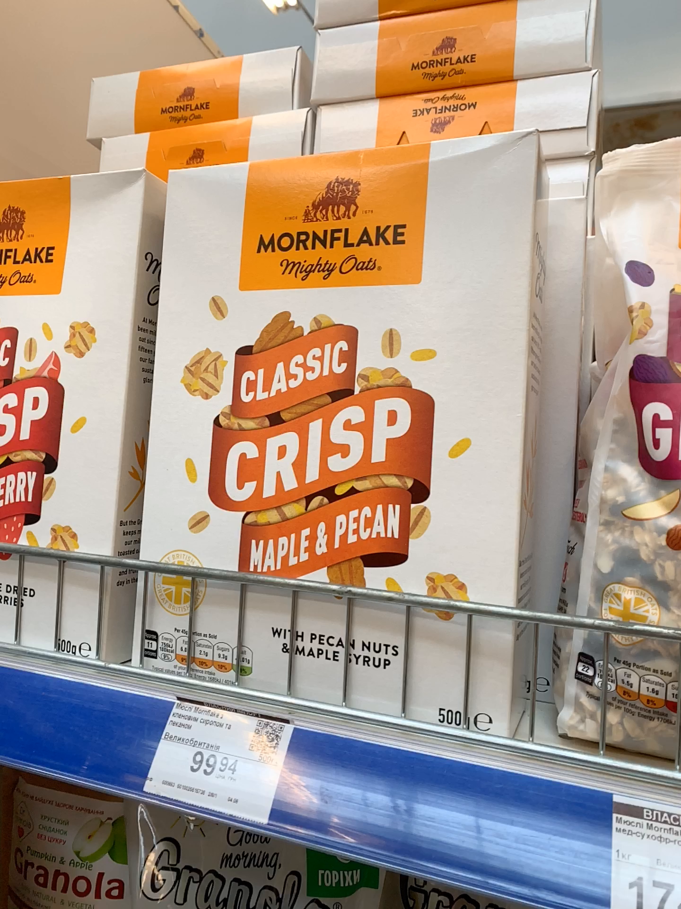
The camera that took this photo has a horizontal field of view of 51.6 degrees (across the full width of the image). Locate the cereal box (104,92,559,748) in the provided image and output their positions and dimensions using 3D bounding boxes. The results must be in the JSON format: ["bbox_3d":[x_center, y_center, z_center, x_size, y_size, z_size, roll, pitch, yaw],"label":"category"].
[{"bbox_3d":[-0.005,-0.019,0.331,0.190,0.250,0.060,3,-2,21],"label":"cereal box"}]
